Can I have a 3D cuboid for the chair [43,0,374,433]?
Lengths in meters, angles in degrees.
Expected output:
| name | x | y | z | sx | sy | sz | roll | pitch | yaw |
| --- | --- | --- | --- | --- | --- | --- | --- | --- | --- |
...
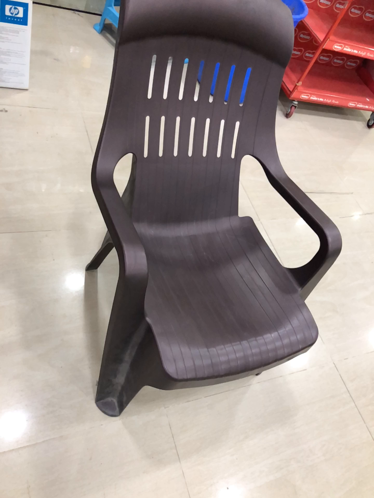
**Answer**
| name | x | y | z | sx | sy | sz | roll | pitch | yaw |
| --- | --- | --- | --- | --- | --- | --- | --- | --- | --- |
| chair | 0.055 | -0.092 | 1.031 | 0.632 | 0.844 | 0.683 | -6 | 56 | -28 |
